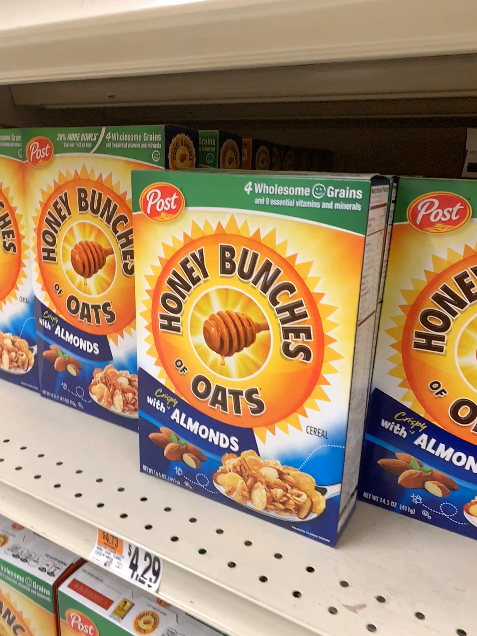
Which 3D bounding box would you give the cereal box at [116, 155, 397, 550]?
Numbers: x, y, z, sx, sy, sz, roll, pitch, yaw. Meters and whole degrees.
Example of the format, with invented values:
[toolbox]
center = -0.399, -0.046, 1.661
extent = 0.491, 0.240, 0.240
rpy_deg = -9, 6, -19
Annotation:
[cereal box]
center = 0.004, 0.016, 0.399
extent = 0.200, 0.279, 0.060
rpy_deg = 11, 20, 28
